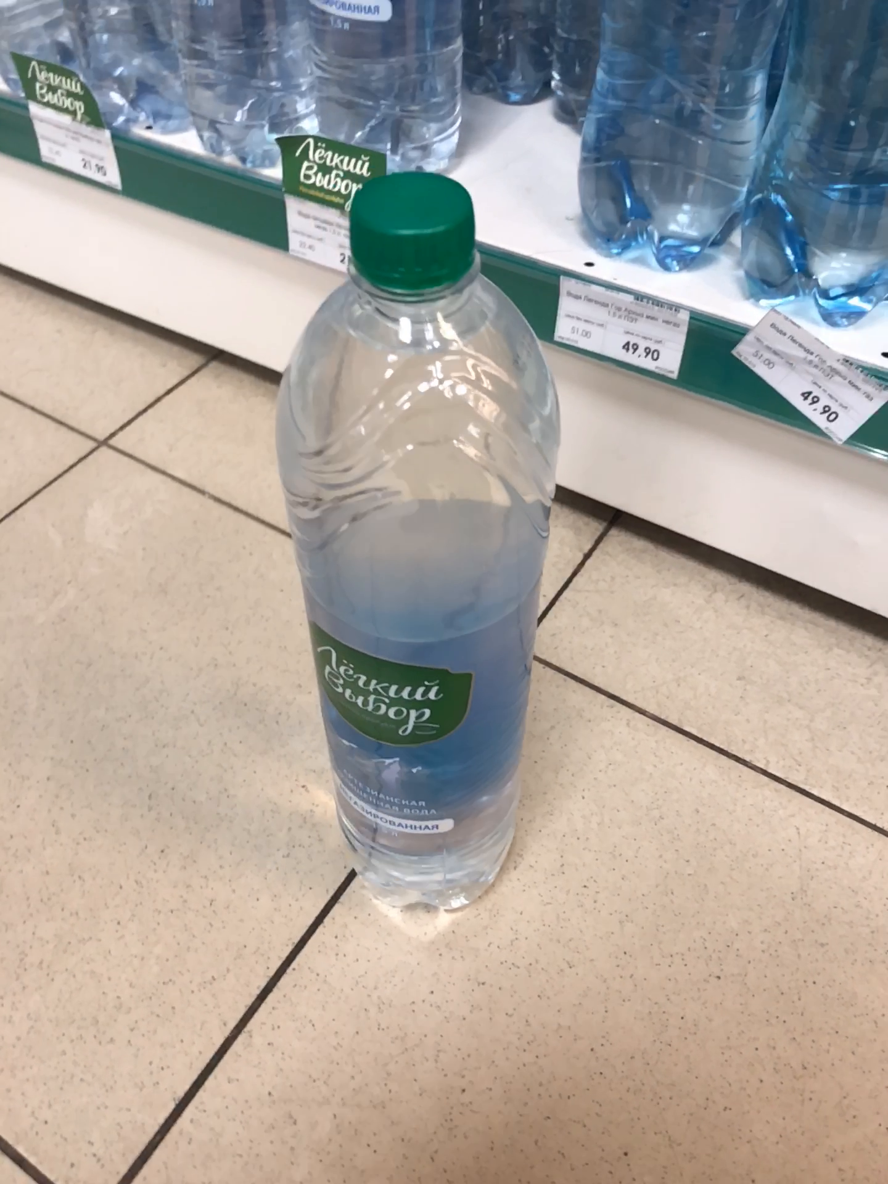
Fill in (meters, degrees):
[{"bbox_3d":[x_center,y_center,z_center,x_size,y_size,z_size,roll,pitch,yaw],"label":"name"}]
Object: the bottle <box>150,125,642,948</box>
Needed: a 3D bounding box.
[{"bbox_3d":[-0.008,0.012,0.348,0.089,0.299,0.086,0,49,0],"label":"bottle"}]
